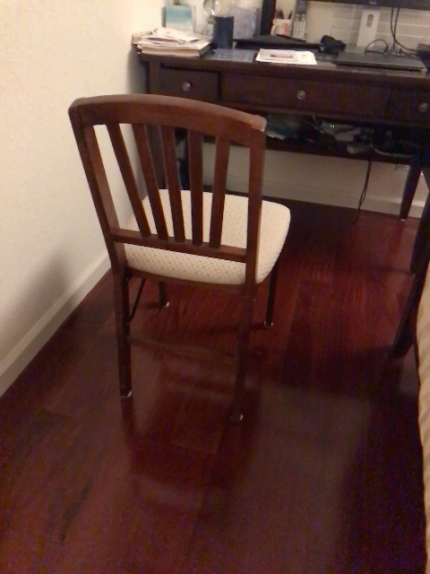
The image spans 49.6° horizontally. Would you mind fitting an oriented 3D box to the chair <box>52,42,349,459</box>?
[{"bbox_3d":[0.025,-0.145,1.351,0.530,0.893,0.726,10,35,10],"label":"chair"}]
